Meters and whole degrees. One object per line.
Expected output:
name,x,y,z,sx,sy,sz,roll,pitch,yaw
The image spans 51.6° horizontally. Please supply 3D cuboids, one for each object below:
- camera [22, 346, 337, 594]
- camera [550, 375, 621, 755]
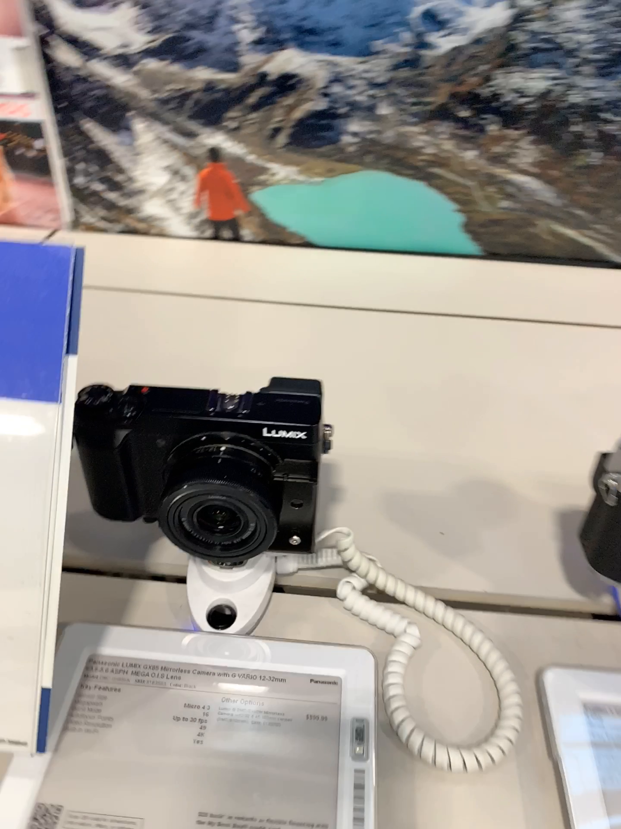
camera,-0.051,0.025,0.300,0.120,0.080,0.070,4,40,2
camera,0.184,0.056,0.266,0.120,0.080,0.121,4,40,2
